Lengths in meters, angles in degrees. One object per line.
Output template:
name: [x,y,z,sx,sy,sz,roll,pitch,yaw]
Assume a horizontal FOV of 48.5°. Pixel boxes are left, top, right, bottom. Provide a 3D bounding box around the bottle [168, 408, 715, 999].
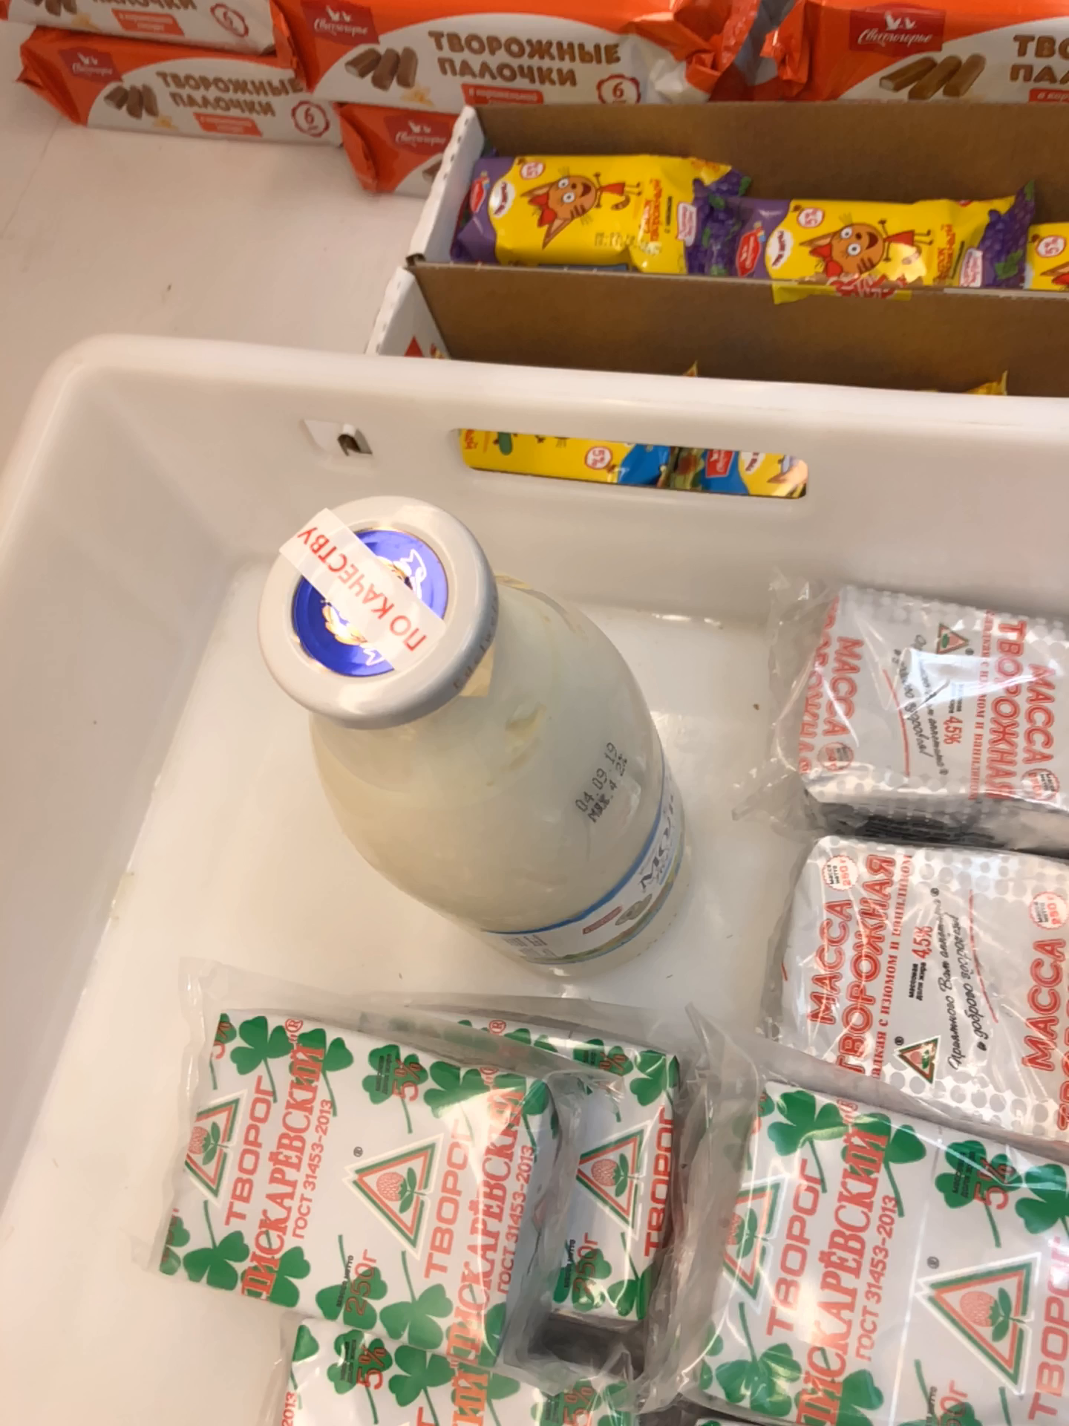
bottle: [-0.001,0.017,0.314,0.072,0.221,0.071,-5,67,11]
